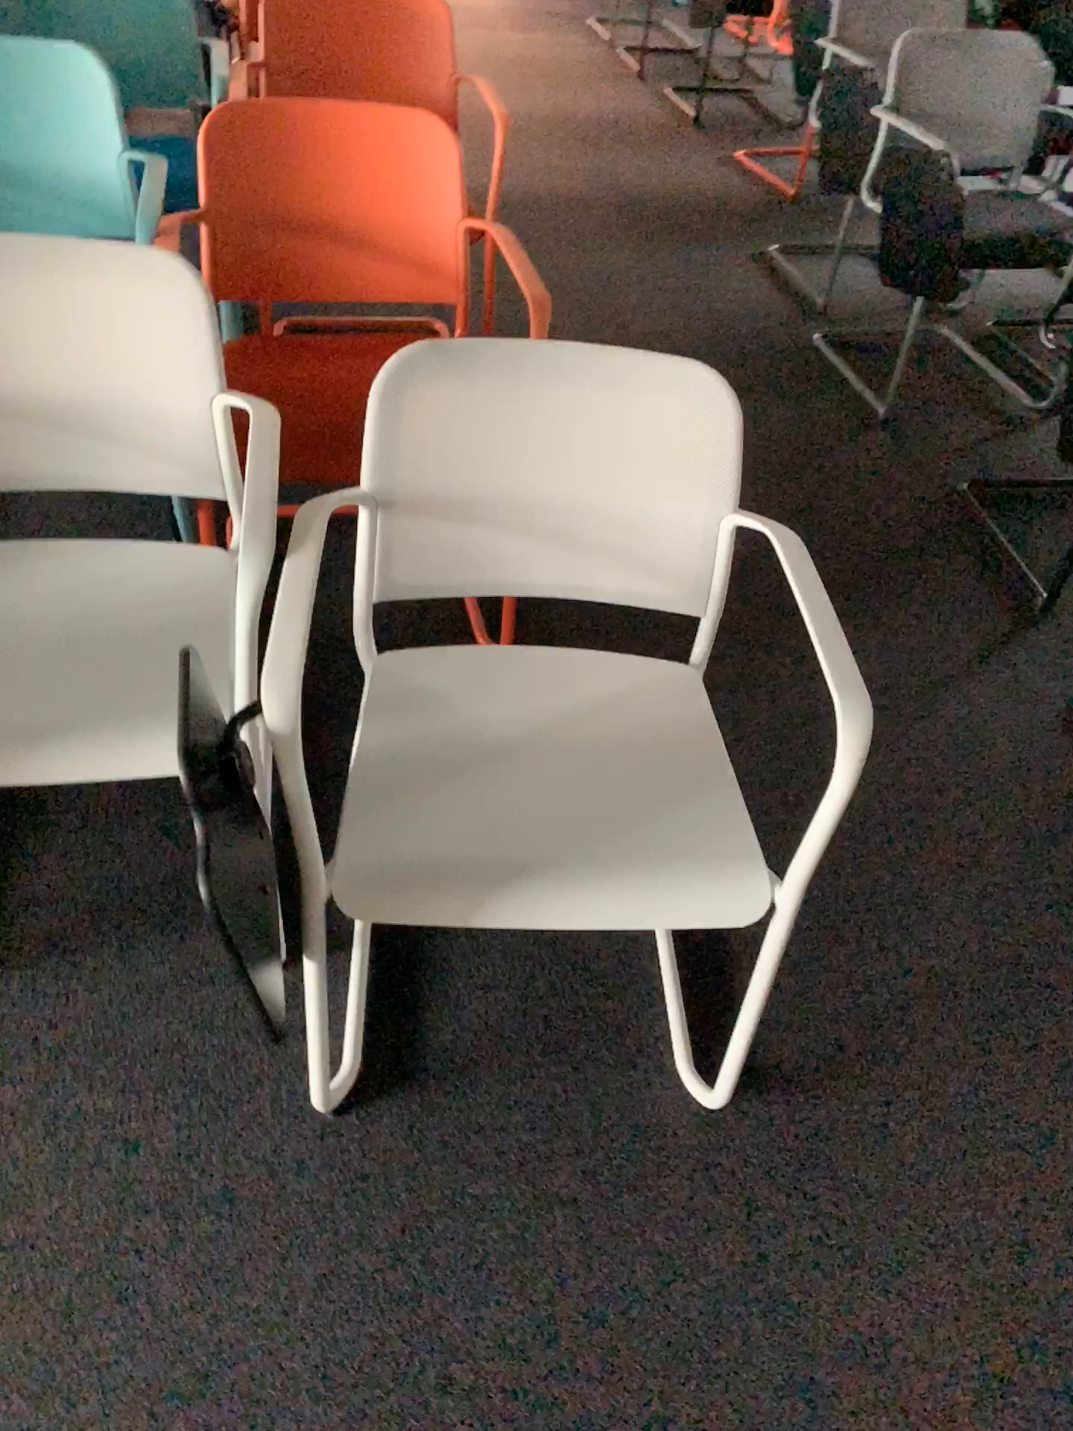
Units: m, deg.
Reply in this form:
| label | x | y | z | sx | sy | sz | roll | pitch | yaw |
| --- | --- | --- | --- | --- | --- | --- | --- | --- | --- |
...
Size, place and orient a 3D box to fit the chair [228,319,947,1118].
| label | x | y | z | sx | sy | sz | roll | pitch | yaw |
| --- | --- | --- | --- | --- | --- | --- | --- | --- | --- |
| chair | -0.001 | 0.034 | 1.302 | 0.561 | 0.756 | 0.553 | 2 | 44 | -6 |
